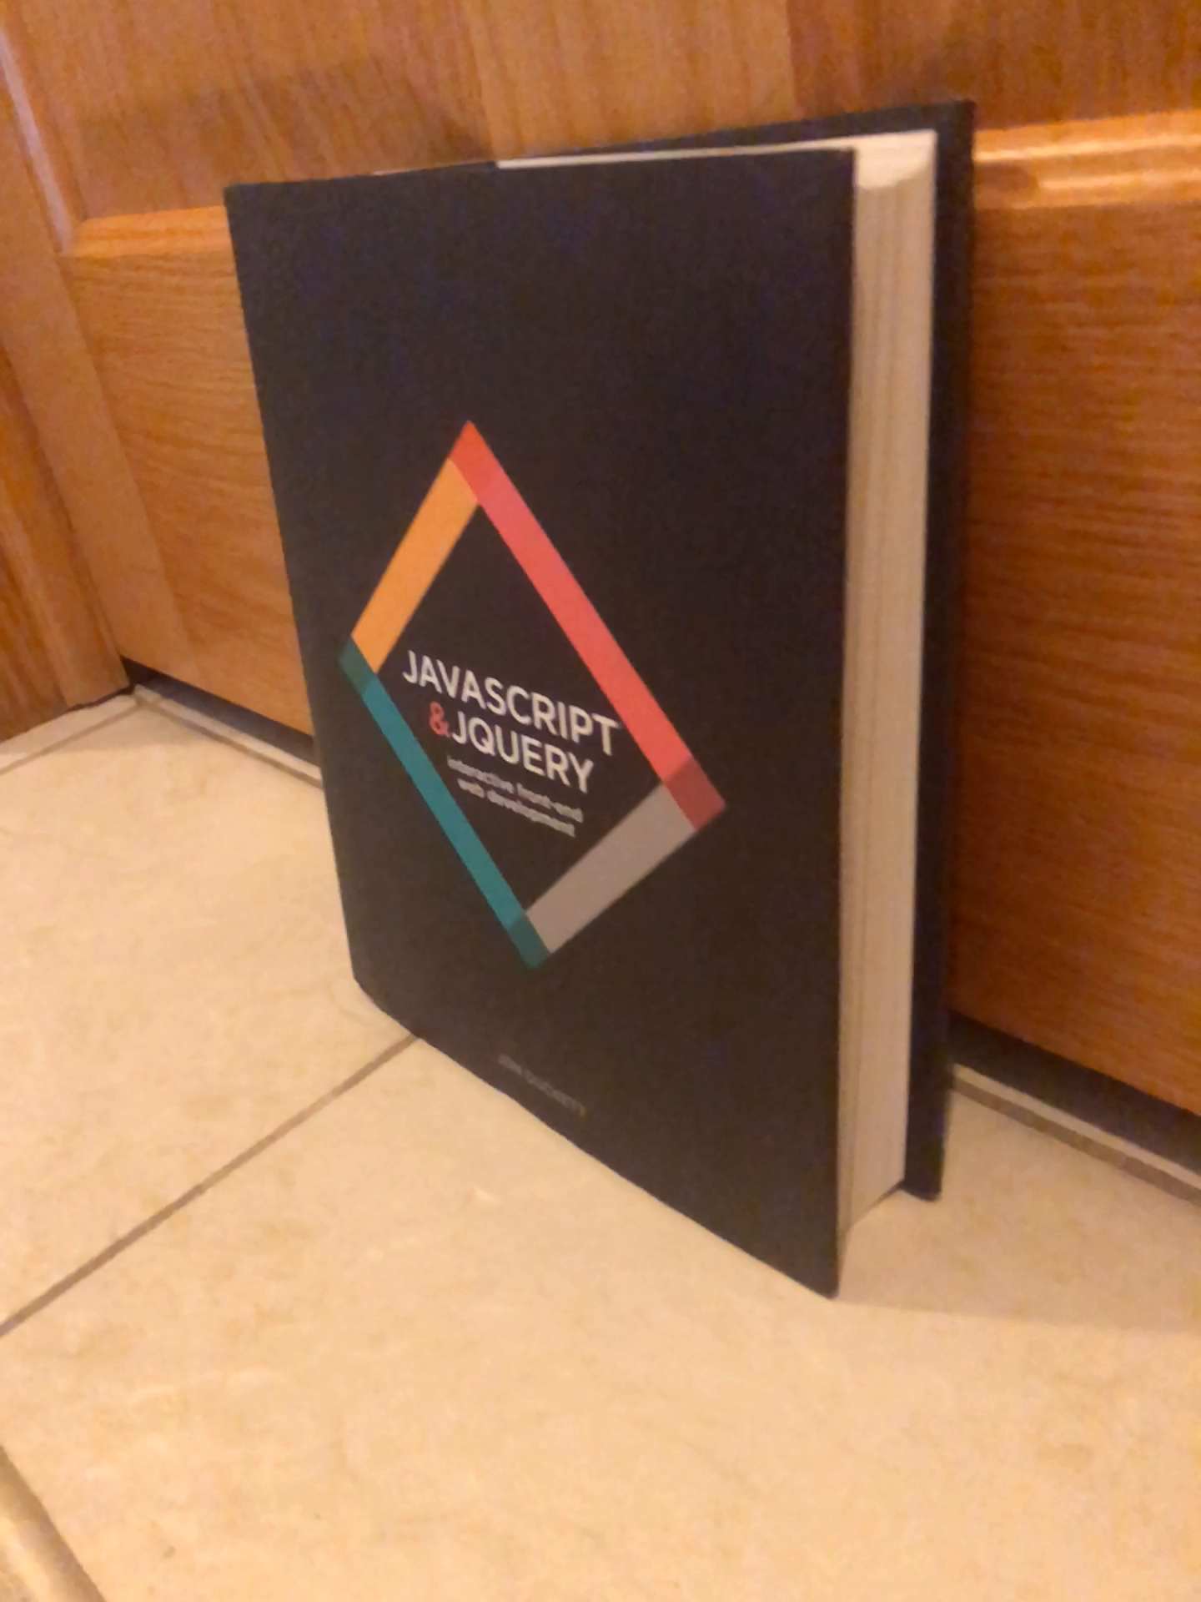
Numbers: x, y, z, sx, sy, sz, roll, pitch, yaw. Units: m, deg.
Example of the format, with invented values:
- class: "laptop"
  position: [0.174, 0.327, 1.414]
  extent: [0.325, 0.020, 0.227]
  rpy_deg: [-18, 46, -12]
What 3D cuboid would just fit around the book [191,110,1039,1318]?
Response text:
- class: "book"
  position: [-0.006, -0.031, 0.332]
  extent: [0.060, 0.237, 0.201]
  rpy_deg: [-23, 31, -37]
